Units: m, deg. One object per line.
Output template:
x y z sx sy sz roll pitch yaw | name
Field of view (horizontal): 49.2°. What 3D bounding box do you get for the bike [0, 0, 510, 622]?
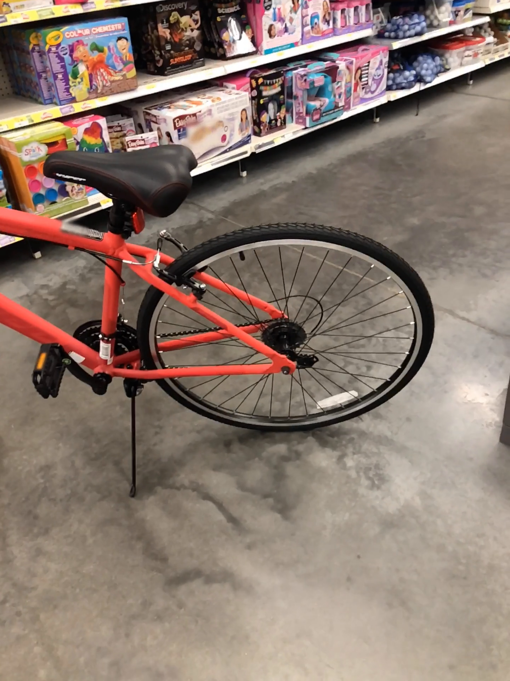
-0.475 -0.048 1.179 1.686 1.000 0.617 -6 37 0 | bike
